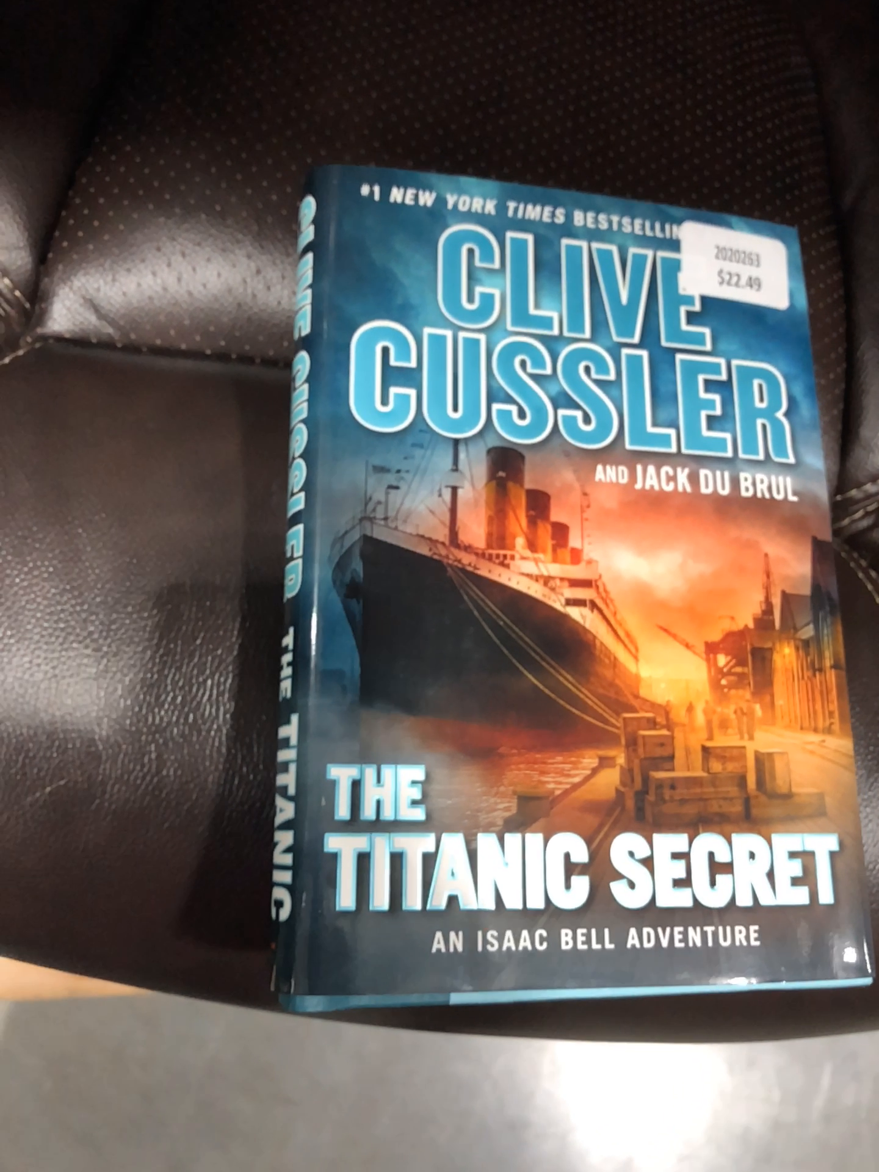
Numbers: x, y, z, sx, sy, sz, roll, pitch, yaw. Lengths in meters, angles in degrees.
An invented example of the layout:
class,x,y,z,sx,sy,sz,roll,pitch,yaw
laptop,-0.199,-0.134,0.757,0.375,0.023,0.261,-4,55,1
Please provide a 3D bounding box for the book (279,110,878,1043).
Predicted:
class,x,y,z,sx,sy,sz,roll,pitch,yaw
book,0.042,-0.008,0.291,0.165,0.040,0.249,3,76,-11
